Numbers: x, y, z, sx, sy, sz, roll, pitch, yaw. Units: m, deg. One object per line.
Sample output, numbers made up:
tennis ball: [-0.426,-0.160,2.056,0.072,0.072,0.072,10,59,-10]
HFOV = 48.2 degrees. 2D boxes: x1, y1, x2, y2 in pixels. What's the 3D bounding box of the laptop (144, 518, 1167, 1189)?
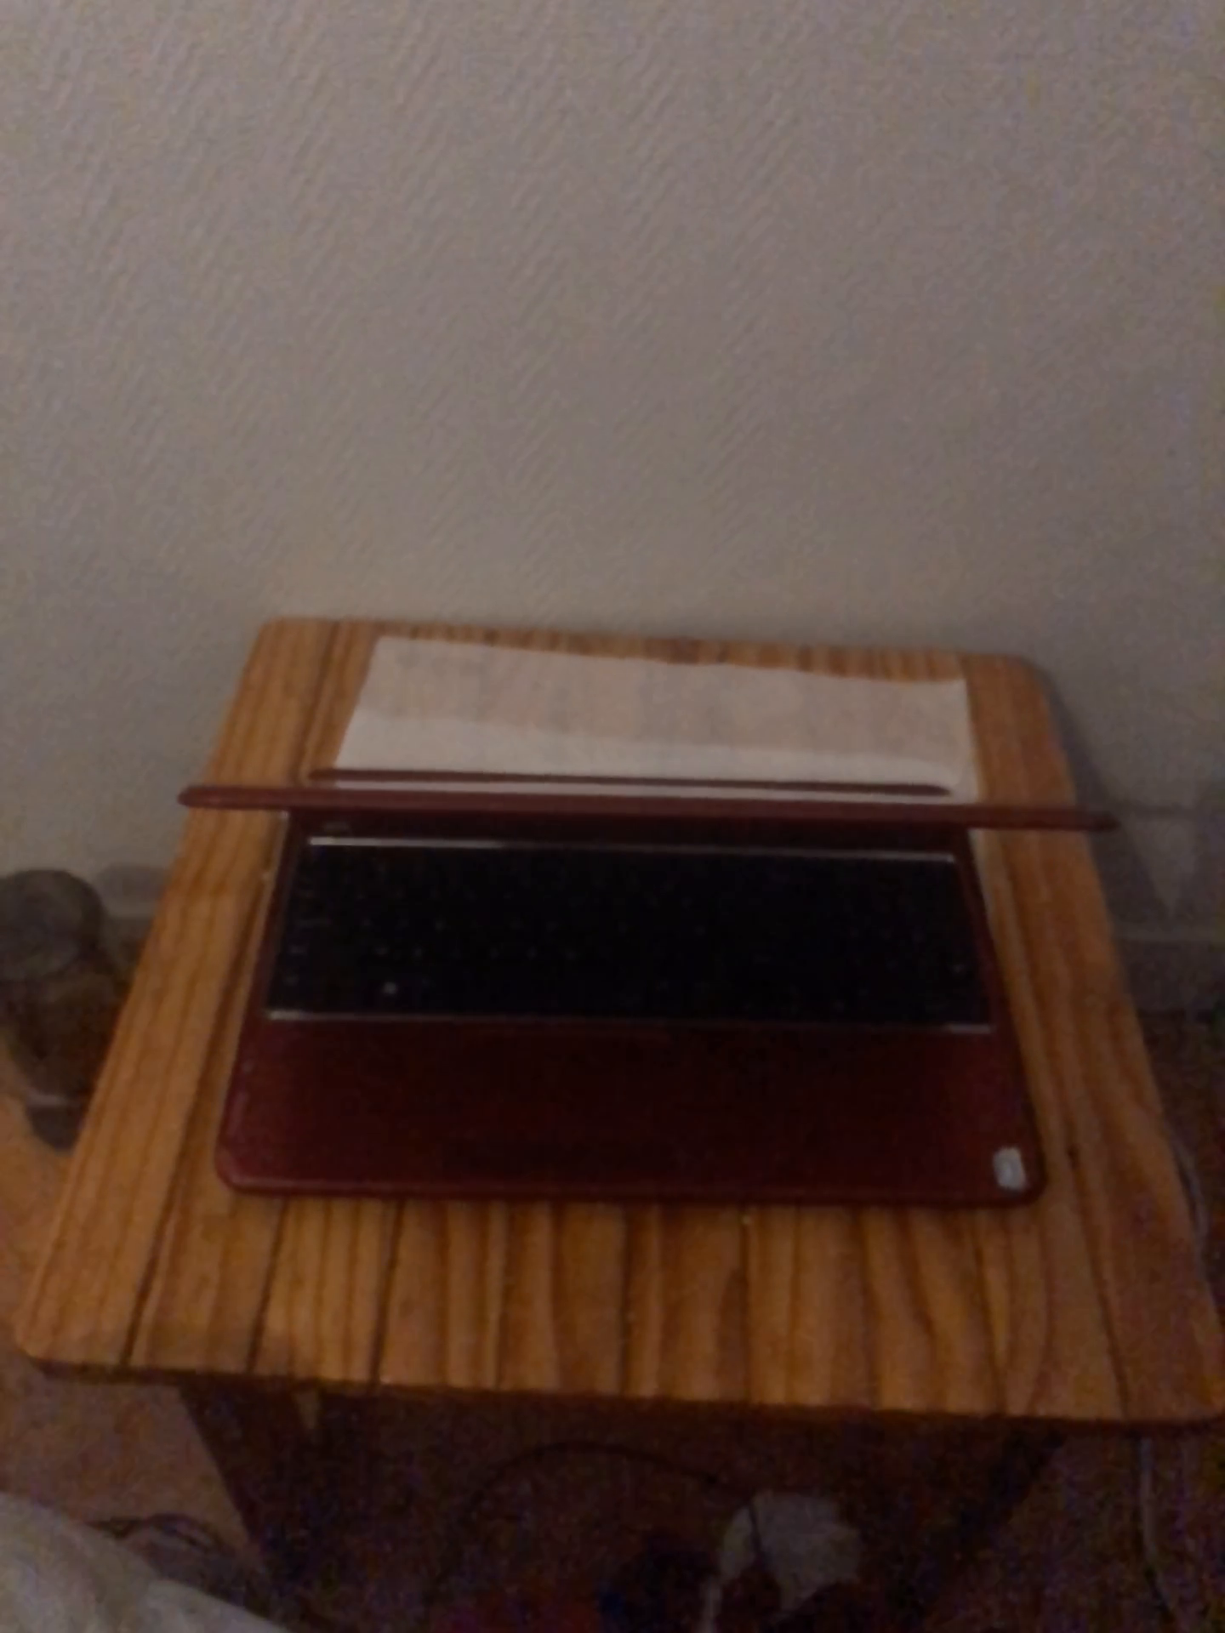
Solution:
laptop: [0.020,0.015,0.642,0.372,0.168,0.254,2,45,-5]
